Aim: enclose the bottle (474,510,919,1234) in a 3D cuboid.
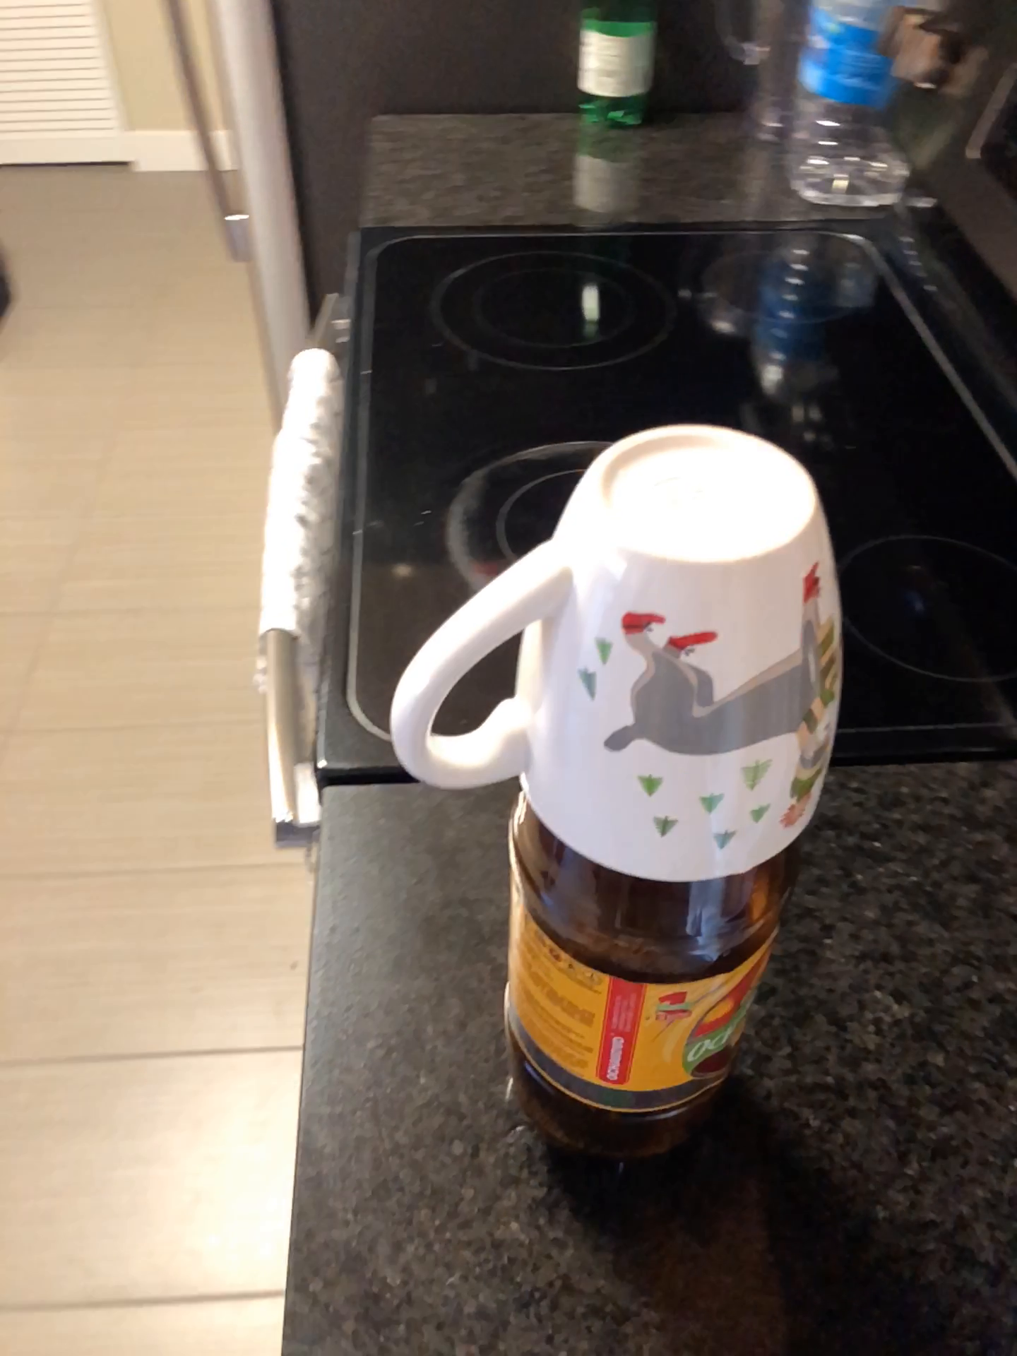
[{"bbox_3d":[0.056,0.090,0.430,0.100,0.279,0.100,1,45,-1],"label":"bottle"}]
